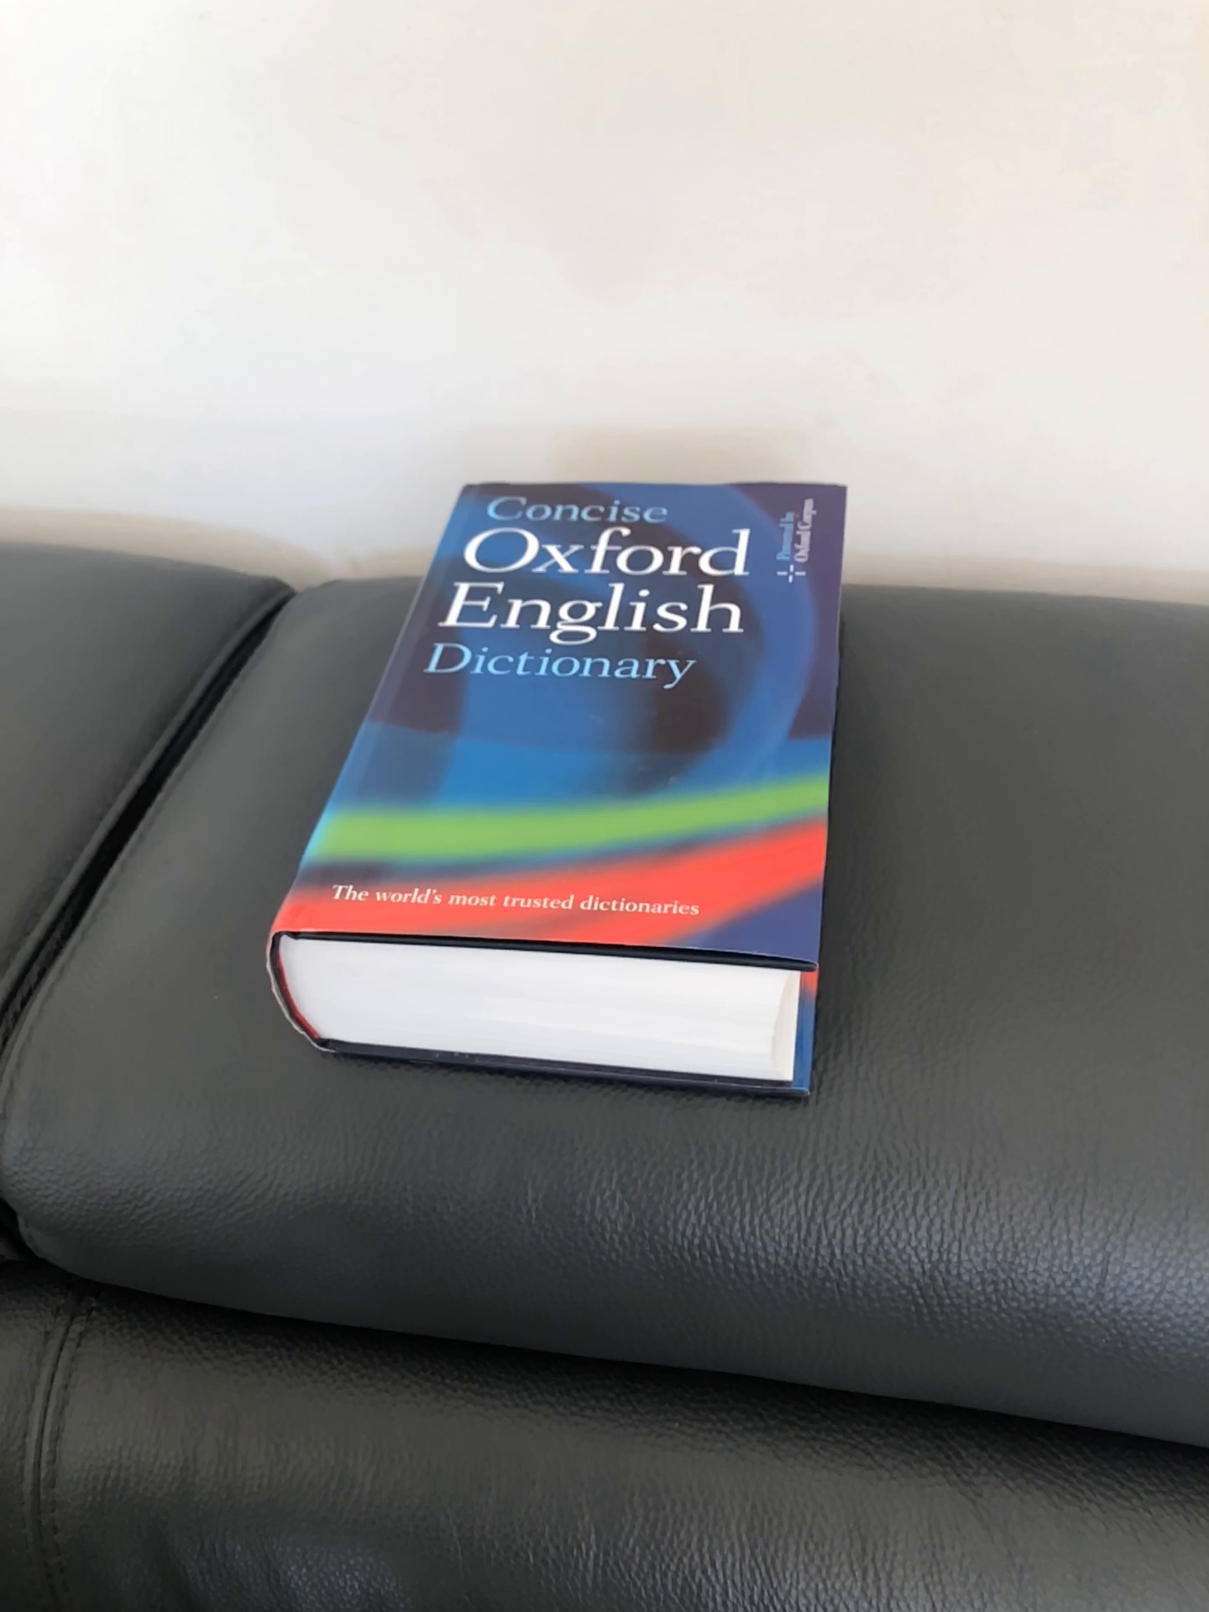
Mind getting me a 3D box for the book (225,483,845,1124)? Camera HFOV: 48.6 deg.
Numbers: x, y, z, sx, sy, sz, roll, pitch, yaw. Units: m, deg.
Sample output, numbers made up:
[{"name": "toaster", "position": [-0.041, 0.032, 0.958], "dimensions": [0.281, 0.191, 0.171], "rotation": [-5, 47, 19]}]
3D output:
[{"name": "book", "position": [-0.003, -0.020, 0.482], "dimensions": [0.170, 0.070, 0.252], "rotation": [2, 44, 9]}]
